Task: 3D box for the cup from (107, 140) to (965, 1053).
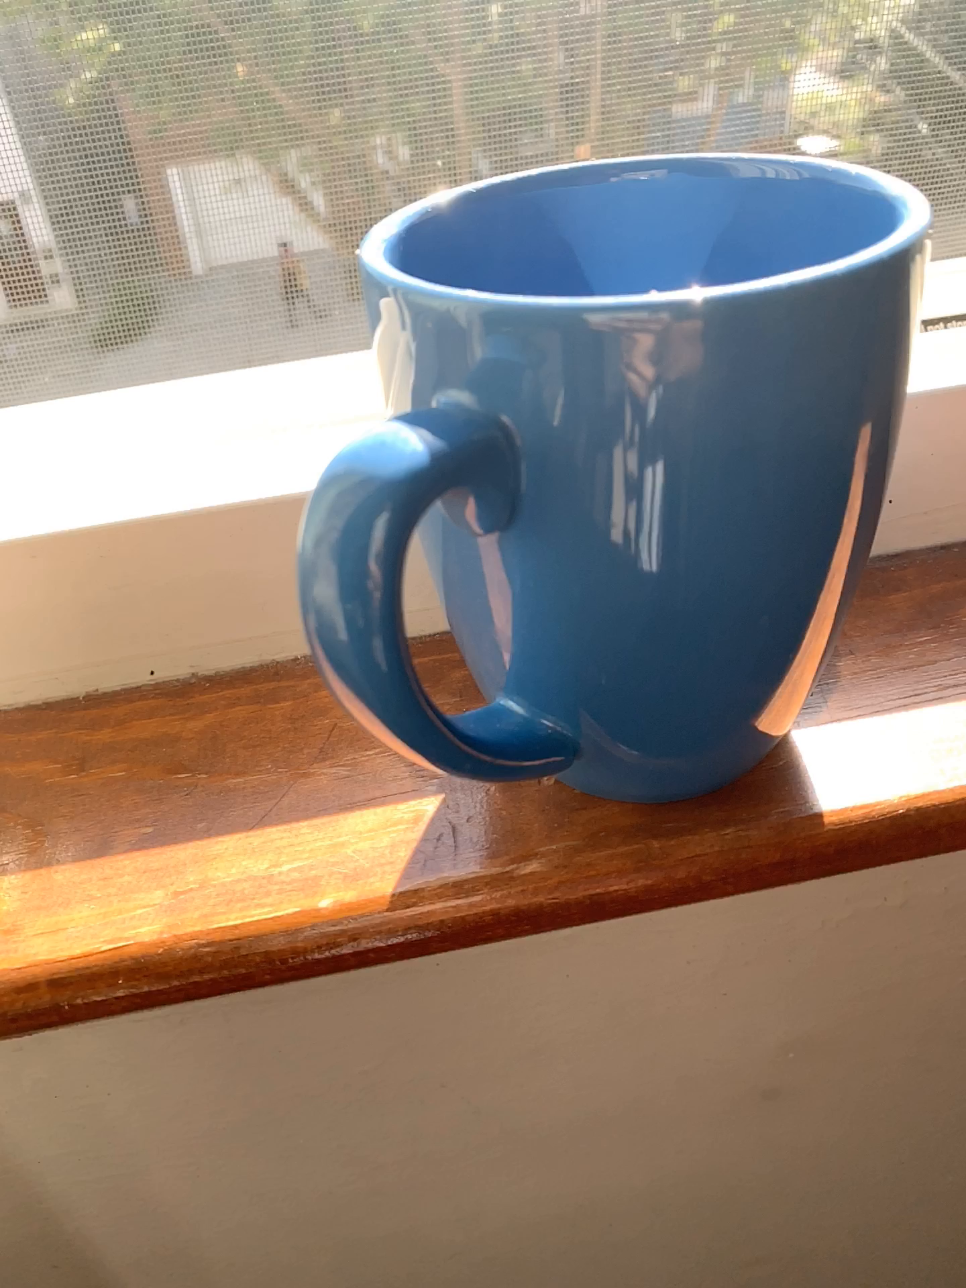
[{"bbox_3d":[0.020,-0.021,0.174,0.082,0.095,0.114,24,46,34],"label":"cup"}]
